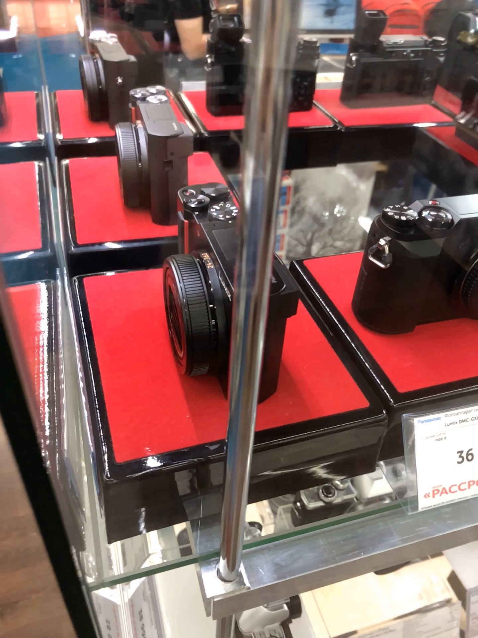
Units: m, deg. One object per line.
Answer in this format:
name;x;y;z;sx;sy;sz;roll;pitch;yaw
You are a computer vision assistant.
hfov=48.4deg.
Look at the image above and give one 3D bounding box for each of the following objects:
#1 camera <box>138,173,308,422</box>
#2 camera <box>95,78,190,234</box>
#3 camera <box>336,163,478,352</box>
camera;-0.015;-0.017;0.273;0.052;0.070;0.110;-9;41;-15
camera;-0.076;-0.129;0.411;0.055;0.076;0.114;-7;40;-13
camera;0.118;-0.036;0.297;0.102;0.076;0.054;-9;41;-15
